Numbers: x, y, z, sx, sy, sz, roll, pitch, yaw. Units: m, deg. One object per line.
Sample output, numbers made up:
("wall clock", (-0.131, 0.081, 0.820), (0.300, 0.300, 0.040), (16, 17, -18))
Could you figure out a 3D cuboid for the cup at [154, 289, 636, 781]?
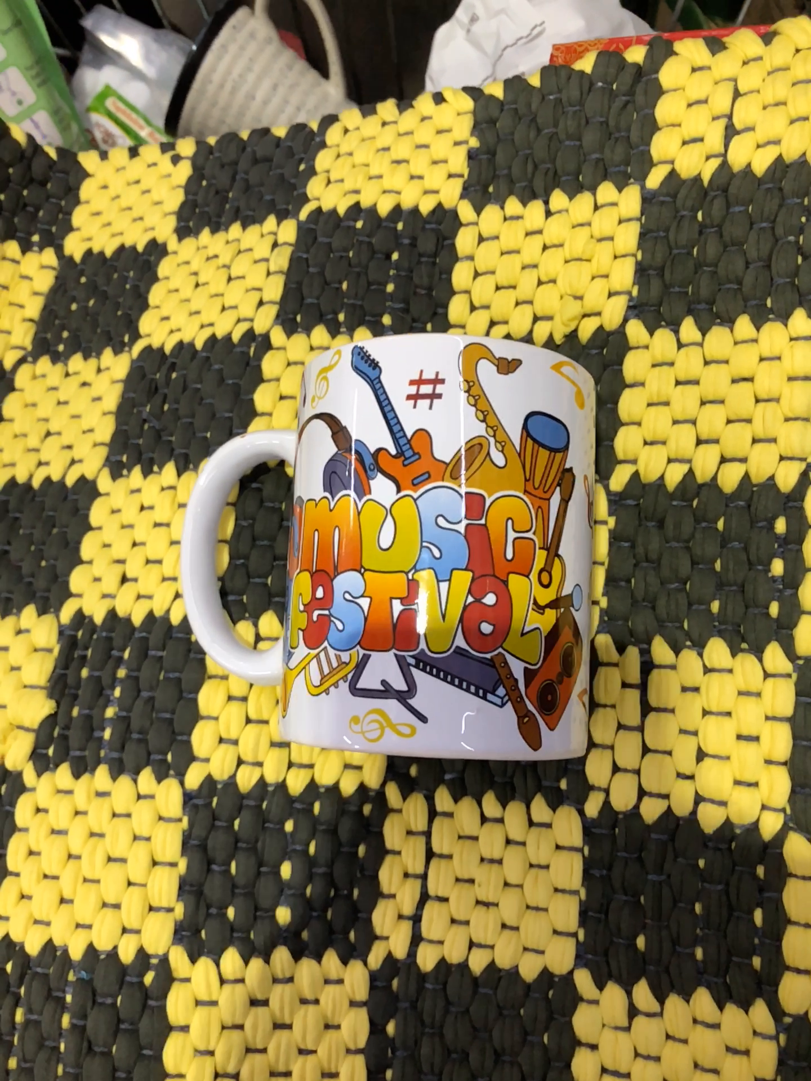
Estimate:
("cup", (-0.002, 0.005, 0.239), (0.100, 0.070, 0.100), (-9, 75, 38))
